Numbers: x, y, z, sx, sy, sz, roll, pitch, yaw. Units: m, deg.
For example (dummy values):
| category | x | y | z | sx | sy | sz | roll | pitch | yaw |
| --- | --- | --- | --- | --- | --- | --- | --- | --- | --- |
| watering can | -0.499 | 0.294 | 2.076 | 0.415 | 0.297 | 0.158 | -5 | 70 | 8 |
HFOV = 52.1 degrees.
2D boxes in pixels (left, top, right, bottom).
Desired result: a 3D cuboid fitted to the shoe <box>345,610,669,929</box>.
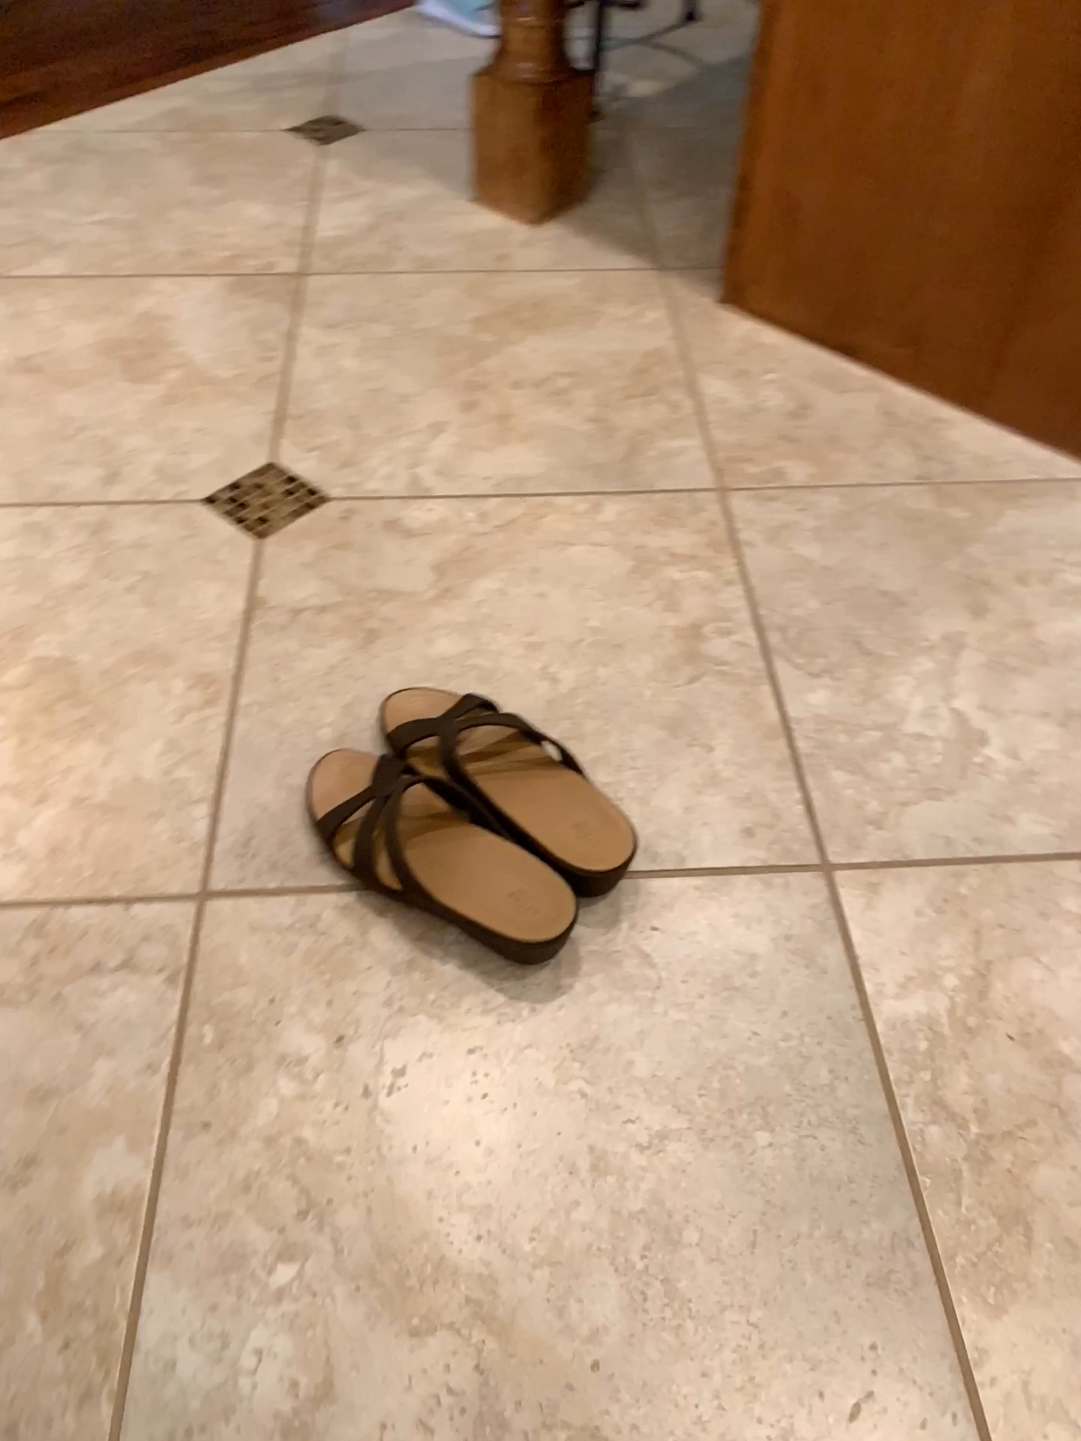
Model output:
| category | x | y | z | sx | sy | sz | roll | pitch | yaw |
| --- | --- | --- | --- | --- | --- | --- | --- | --- | --- |
| shoe | -0.032 | 0.033 | 0.912 | 0.110 | 0.092 | 0.259 | -36 | 58 | -28 |

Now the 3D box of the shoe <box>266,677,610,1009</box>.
| category | x | y | z | sx | sy | sz | roll | pitch | yaw |
| --- | --- | --- | --- | --- | --- | --- | --- | --- | --- |
| shoe | -0.084 | 0.090 | 0.886 | 0.264 | 0.092 | 0.110 | 34 | 56 | 26 |
